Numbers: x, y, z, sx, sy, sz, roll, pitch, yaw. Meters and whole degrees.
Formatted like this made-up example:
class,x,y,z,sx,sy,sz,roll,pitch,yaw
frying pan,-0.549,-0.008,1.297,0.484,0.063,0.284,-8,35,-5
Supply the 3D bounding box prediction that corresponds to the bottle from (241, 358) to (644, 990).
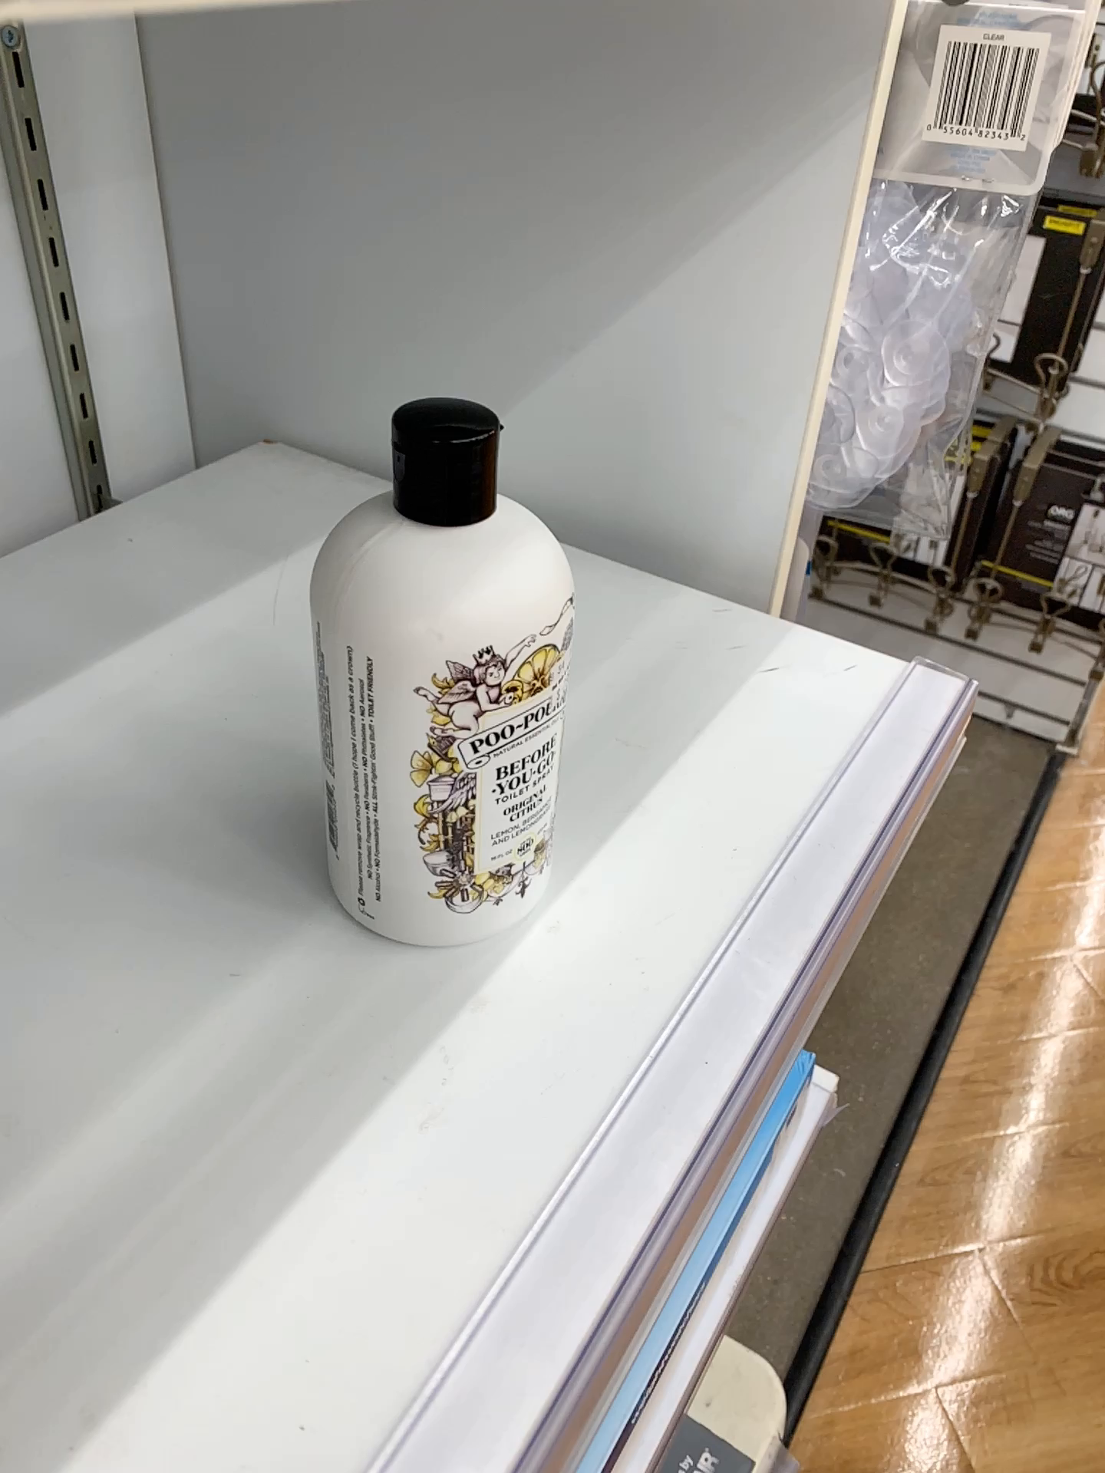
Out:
class,x,y,z,sx,sy,sz,roll,pitch,yaw
bottle,-0.031,-0.016,0.331,0.070,0.153,0.073,3,37,-2
